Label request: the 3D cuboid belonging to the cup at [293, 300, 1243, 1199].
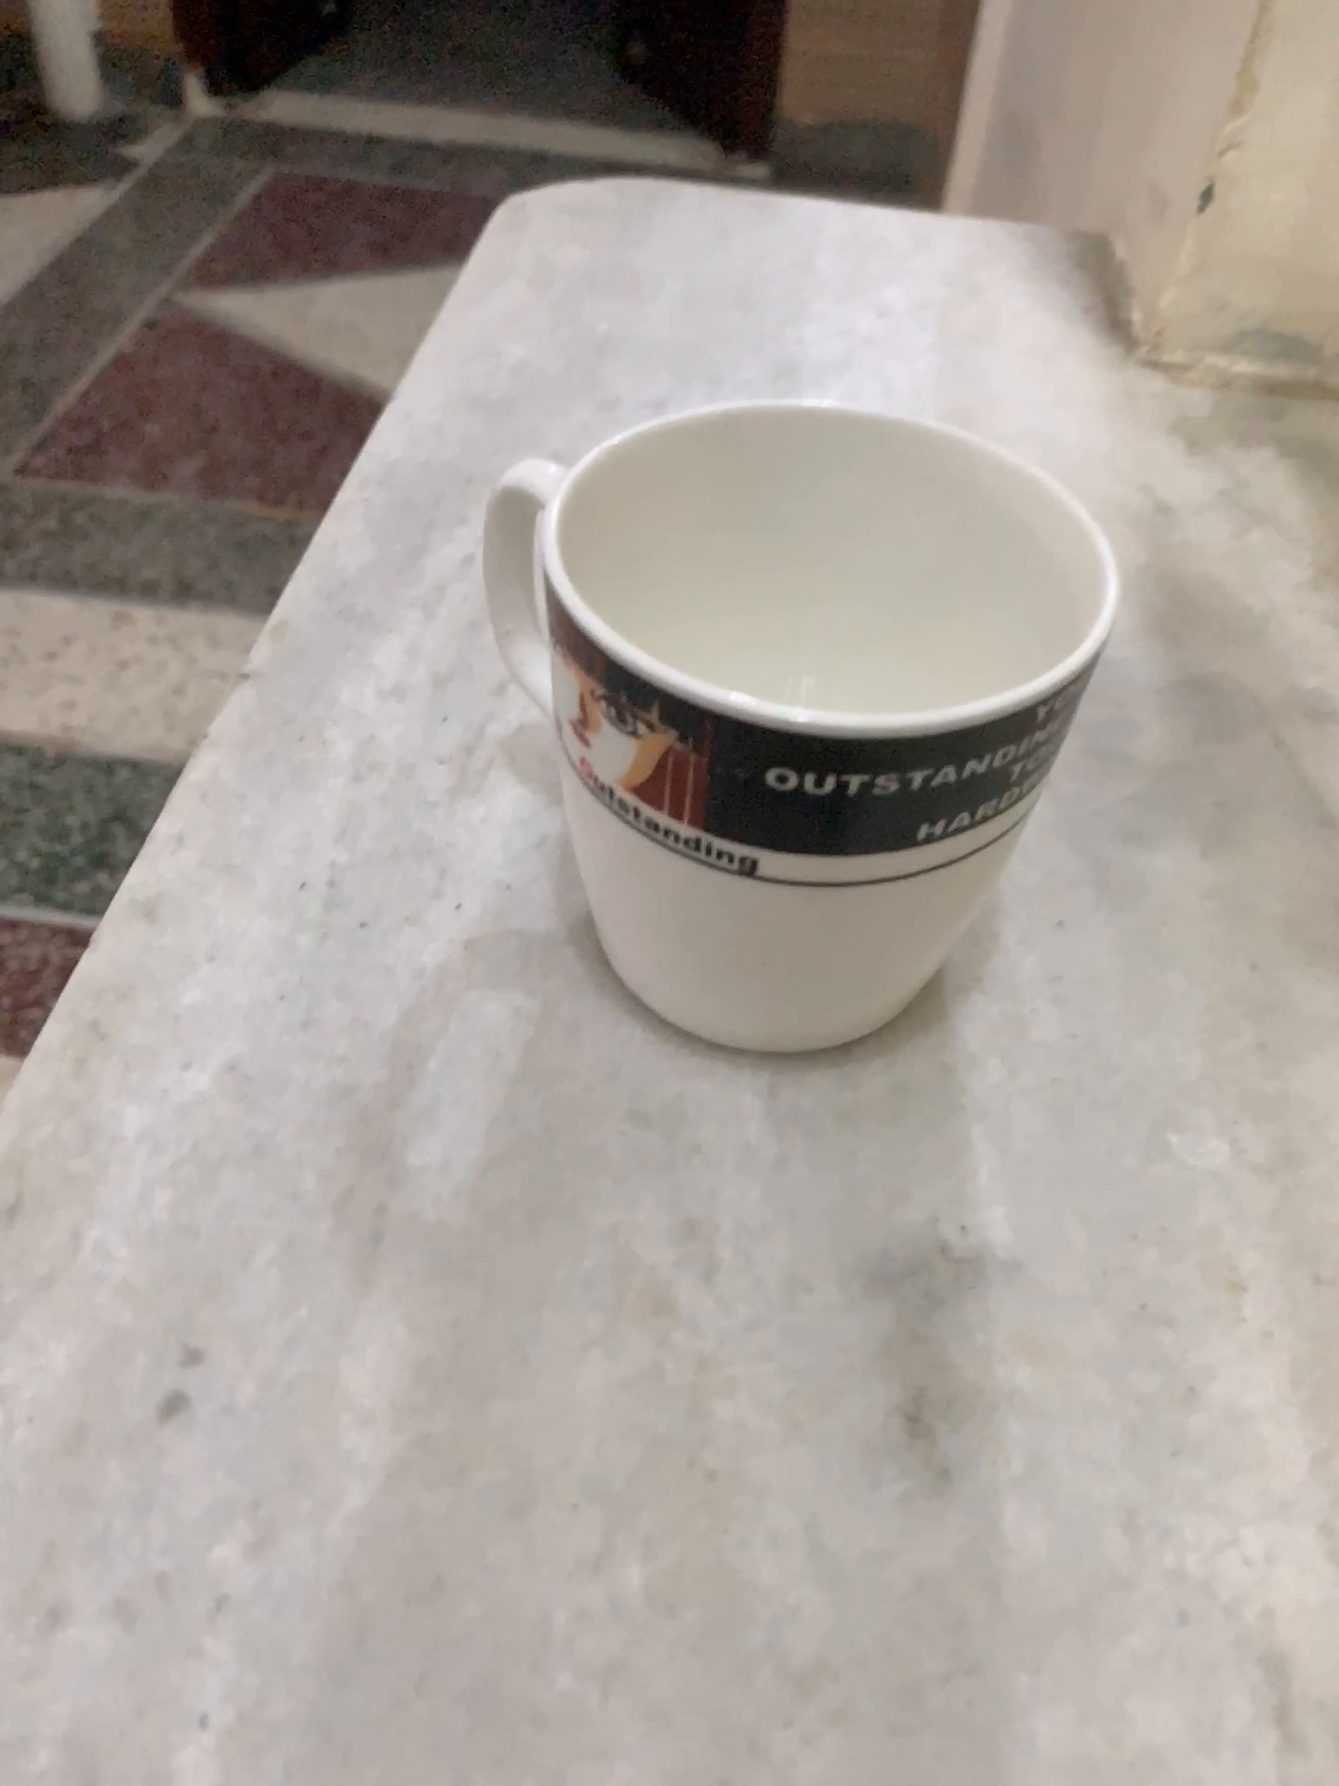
[{"bbox_3d":[0.008,-0.025,0.187,0.070,0.060,0.090,-31,56,-29],"label":"cup"}]
